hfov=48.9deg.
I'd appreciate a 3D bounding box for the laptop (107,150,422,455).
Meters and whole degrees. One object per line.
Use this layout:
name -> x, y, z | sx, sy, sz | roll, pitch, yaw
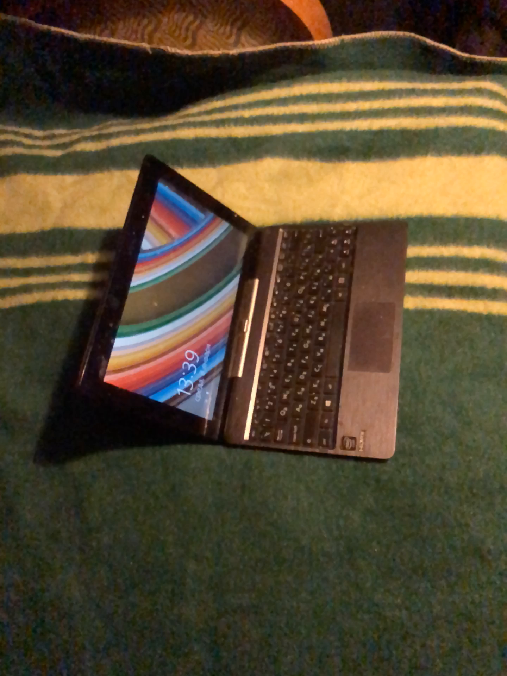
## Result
laptop -> 0.019, -0.037, 0.556 | 0.257, 0.116, 0.257 | 3, 66, 16
